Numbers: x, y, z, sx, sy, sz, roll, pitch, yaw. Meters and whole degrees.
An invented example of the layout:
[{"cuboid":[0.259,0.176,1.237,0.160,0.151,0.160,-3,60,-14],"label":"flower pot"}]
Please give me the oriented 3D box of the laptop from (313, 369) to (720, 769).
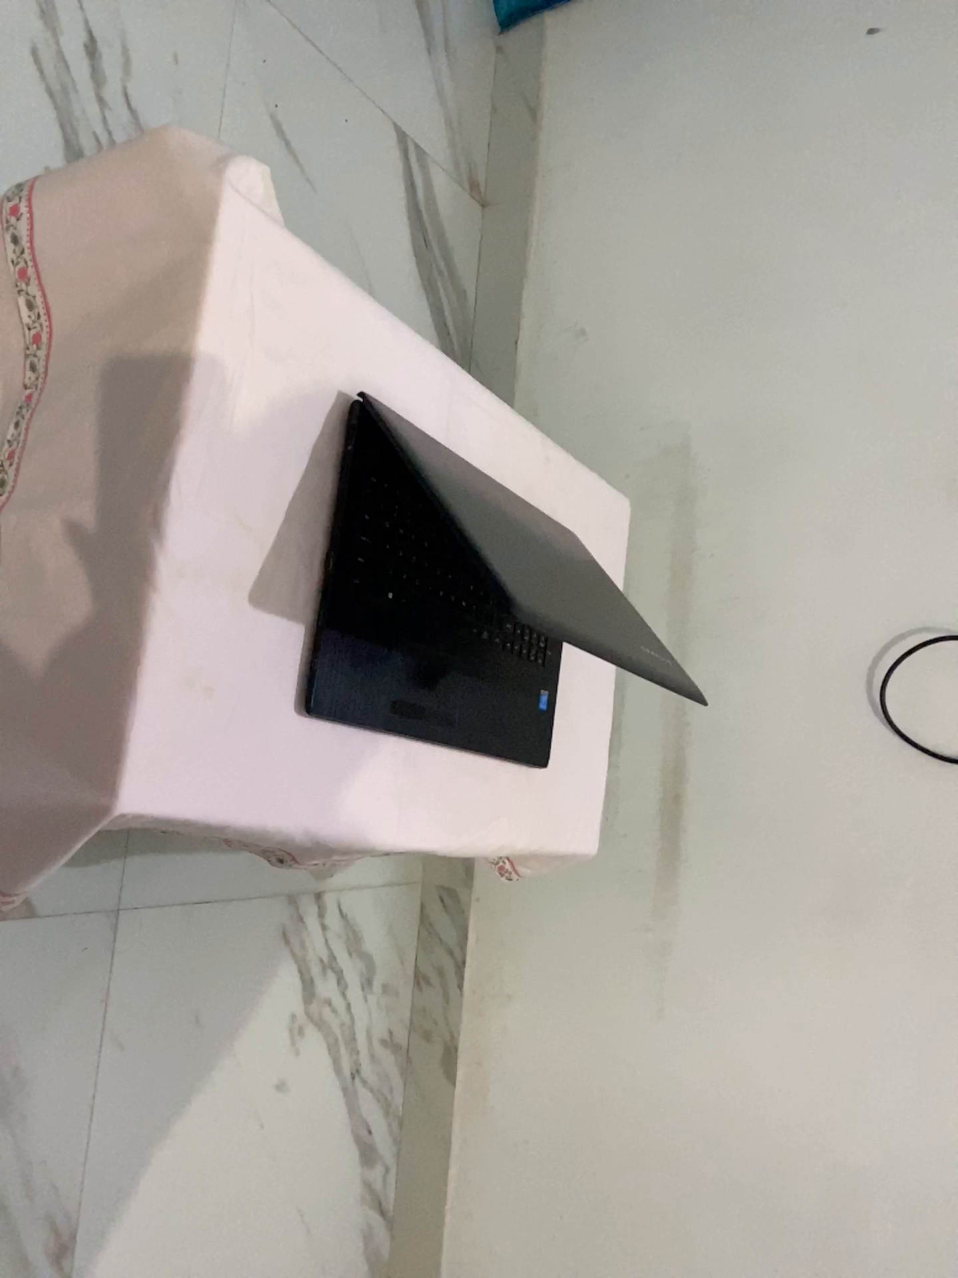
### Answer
[{"cuboid":[0.061,-0.034,0.895,0.371,0.176,0.258,21,73,-55],"label":"laptop"}]
